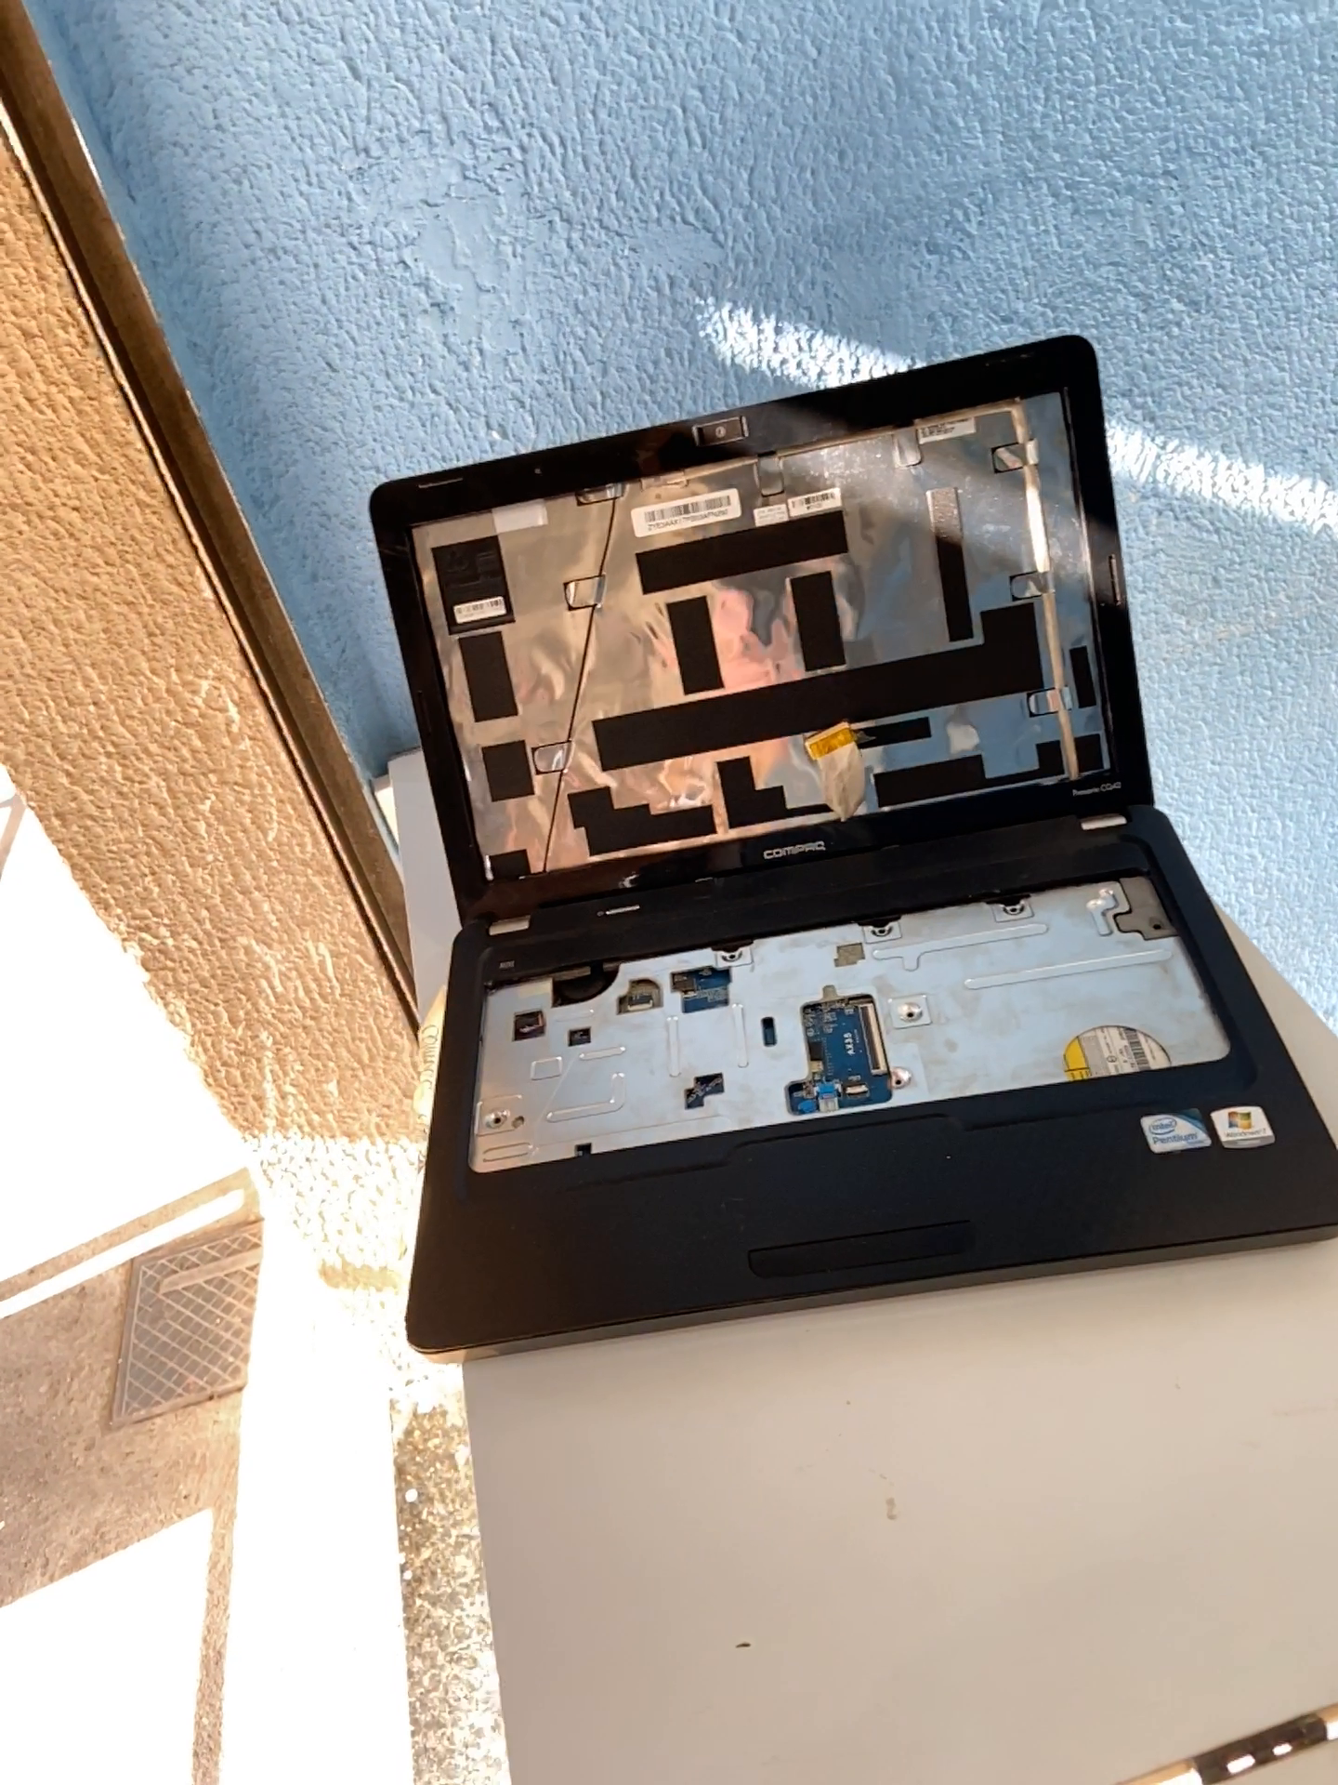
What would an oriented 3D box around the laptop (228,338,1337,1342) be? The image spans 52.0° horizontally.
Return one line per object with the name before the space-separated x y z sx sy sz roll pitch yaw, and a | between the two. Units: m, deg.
laptop | 0.049 -0.041 0.564 0.331 0.182 0.337 -10 40 6
